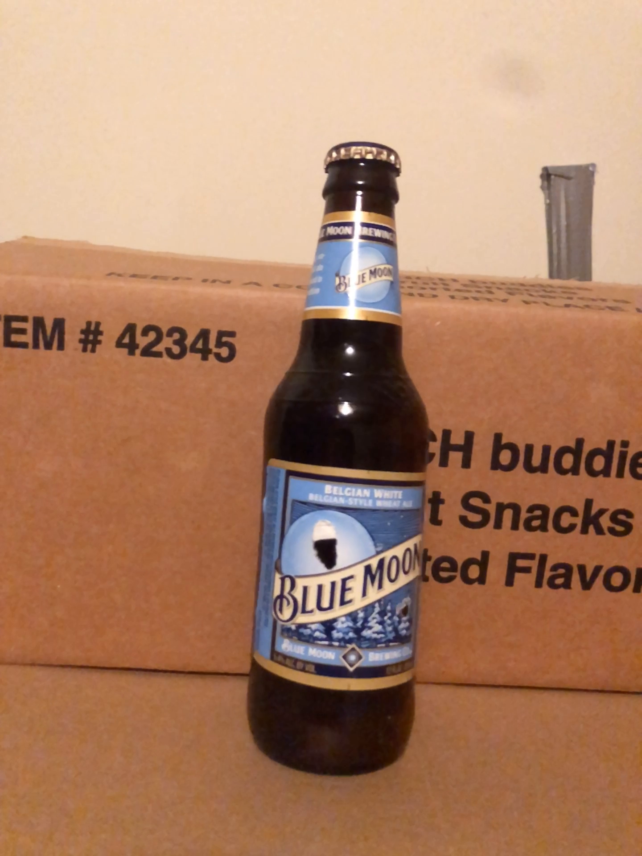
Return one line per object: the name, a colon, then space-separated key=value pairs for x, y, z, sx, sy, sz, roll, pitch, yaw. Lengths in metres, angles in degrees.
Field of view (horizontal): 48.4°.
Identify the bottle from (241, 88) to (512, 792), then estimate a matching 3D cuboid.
bottle: x=0.013 y=0.006 z=0.246 sx=0.070 sy=0.210 sz=0.060 roll=2 pitch=5 yaw=-8
